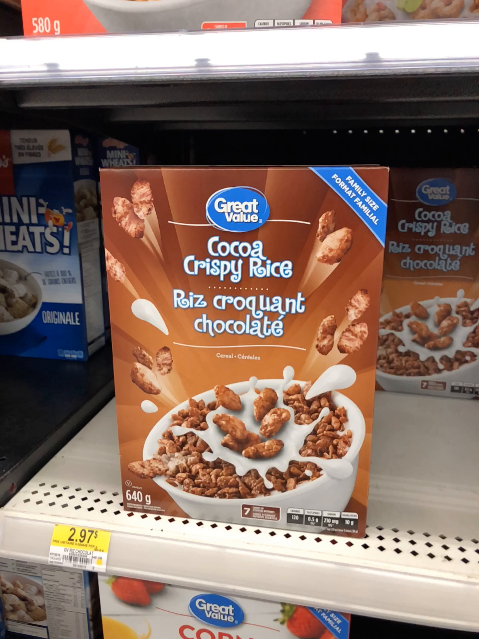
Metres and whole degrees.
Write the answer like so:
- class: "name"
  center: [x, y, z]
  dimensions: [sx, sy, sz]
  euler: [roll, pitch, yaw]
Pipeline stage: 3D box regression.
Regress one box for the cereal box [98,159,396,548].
- class: "cereal box"
  center: [0.009, 0.024, 0.444]
  dimensions: [0.210, 0.299, 0.080]
  euler: [2, 15, 10]
